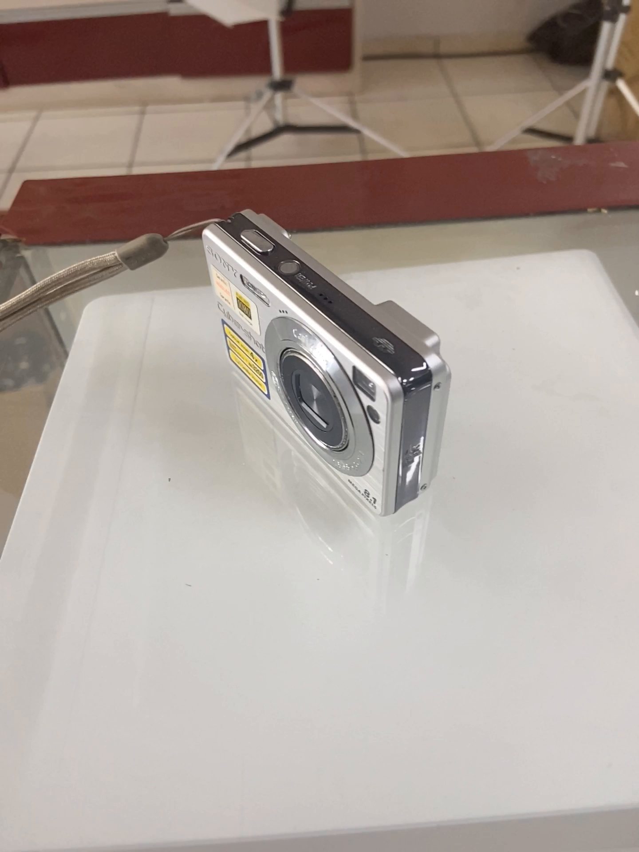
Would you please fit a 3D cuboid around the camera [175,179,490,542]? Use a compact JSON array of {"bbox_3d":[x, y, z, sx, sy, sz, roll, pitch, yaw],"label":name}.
[{"bbox_3d":[0.000,-0.021,0.192,0.030,0.060,0.090,-31,55,-23],"label":"camera"}]
